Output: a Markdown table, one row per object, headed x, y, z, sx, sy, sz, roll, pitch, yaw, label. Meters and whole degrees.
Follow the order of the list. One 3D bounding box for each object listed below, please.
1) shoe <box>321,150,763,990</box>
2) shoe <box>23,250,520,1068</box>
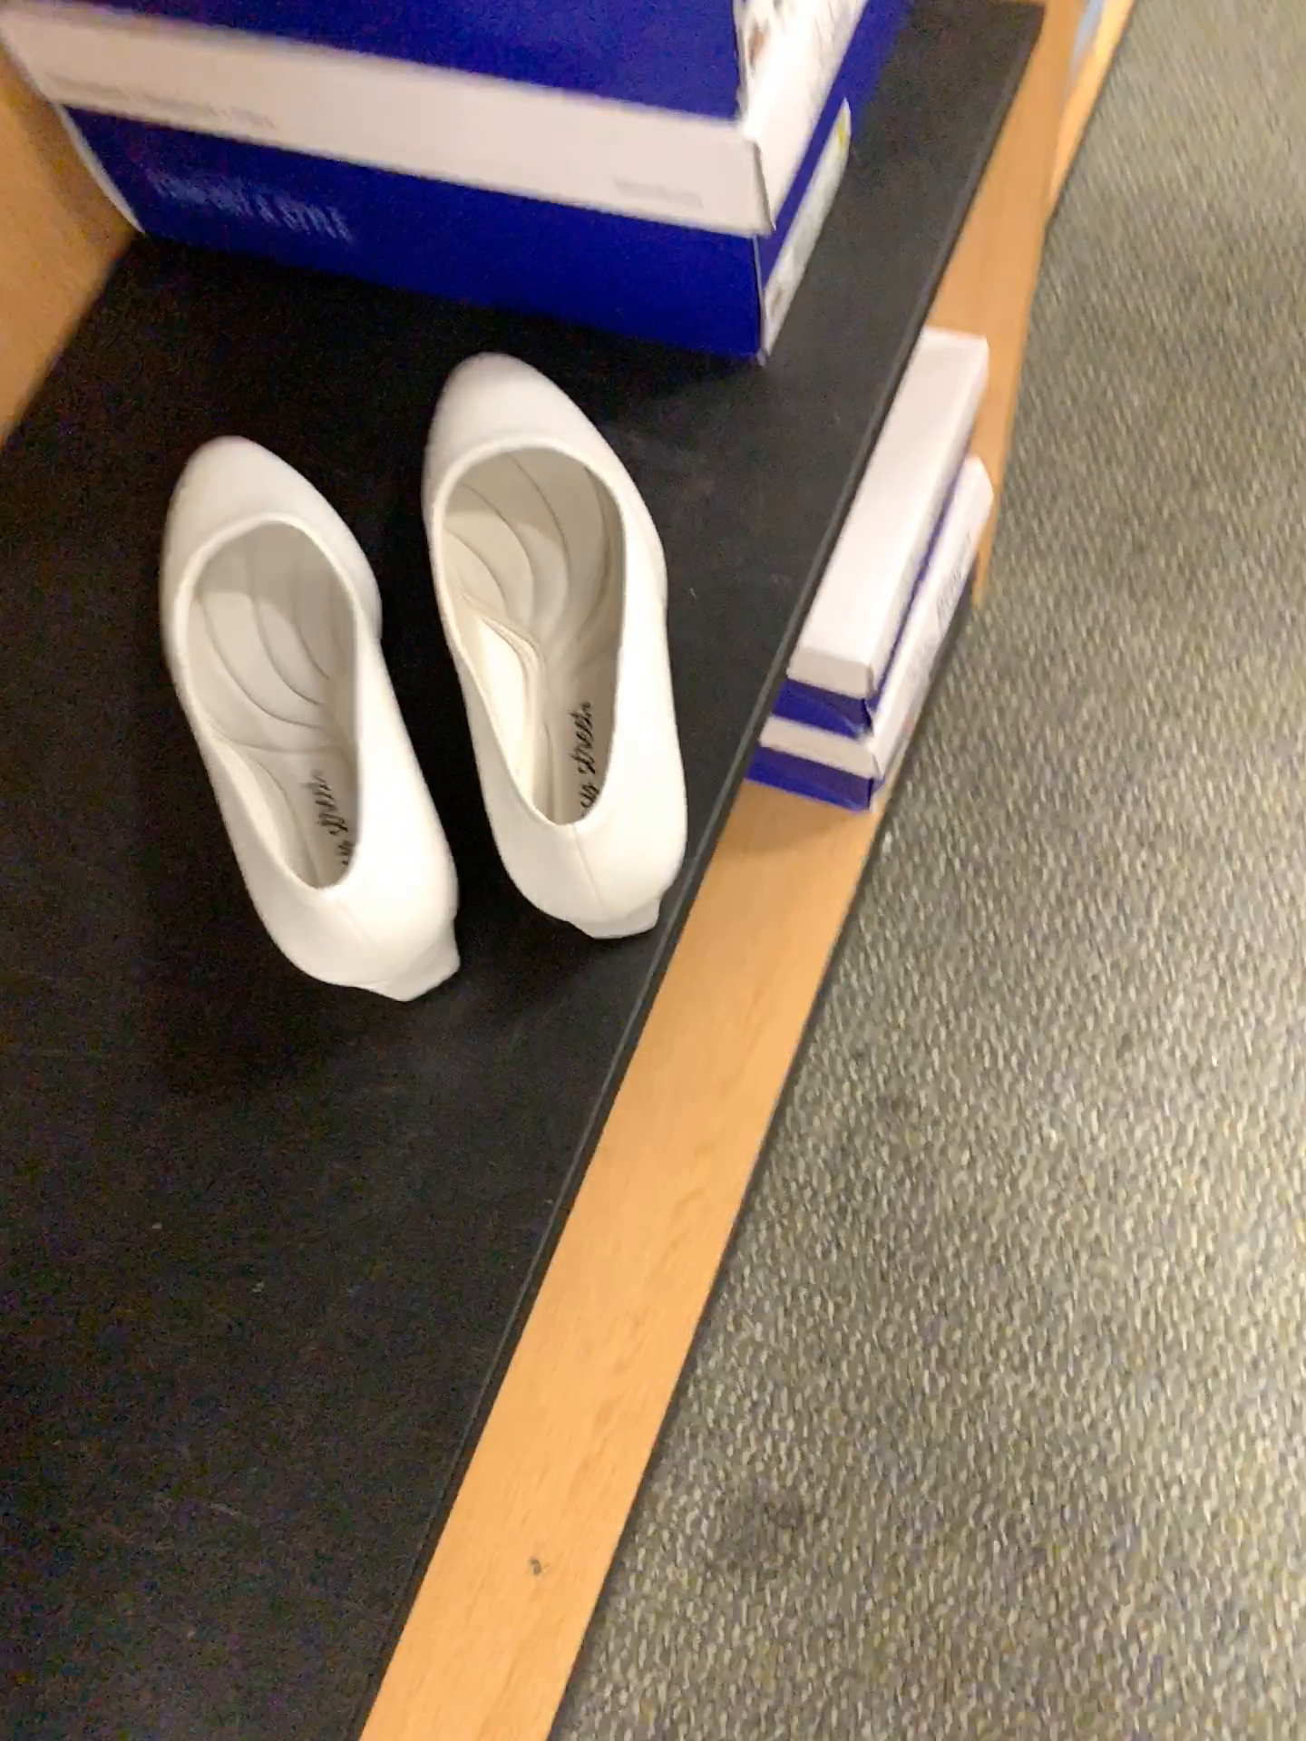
| x | y | z | sx | sy | sz | roll | pitch | yaw | label |
| --- | --- | --- | --- | --- | --- | --- | --- | --- | --- |
| -0.037 | -0.101 | 0.461 | 0.090 | 0.110 | 0.250 | -13 | 69 | 1 | shoe |
| -0.130 | -0.072 | 0.458 | 0.080 | 0.100 | 0.250 | -20 | 69 | -1 | shoe |
